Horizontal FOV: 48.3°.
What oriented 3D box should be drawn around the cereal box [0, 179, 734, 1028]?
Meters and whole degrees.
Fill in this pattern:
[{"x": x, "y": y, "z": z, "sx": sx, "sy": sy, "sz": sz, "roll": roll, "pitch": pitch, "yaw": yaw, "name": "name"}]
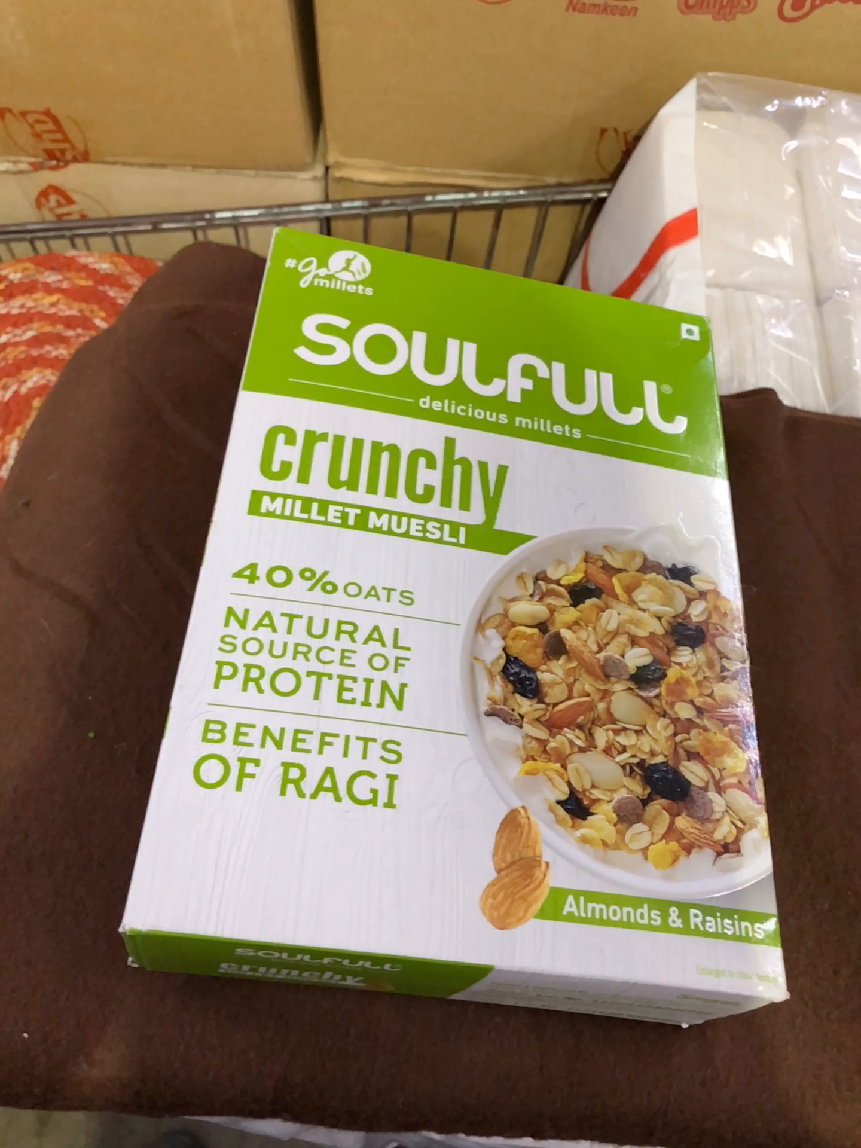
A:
[{"x": -0.008, "y": -0.005, "z": 0.293, "sx": 0.160, "sy": 0.060, "sz": 0.241, "roll": 9, "pitch": 57, "yaw": -6, "name": "cereal box"}]
